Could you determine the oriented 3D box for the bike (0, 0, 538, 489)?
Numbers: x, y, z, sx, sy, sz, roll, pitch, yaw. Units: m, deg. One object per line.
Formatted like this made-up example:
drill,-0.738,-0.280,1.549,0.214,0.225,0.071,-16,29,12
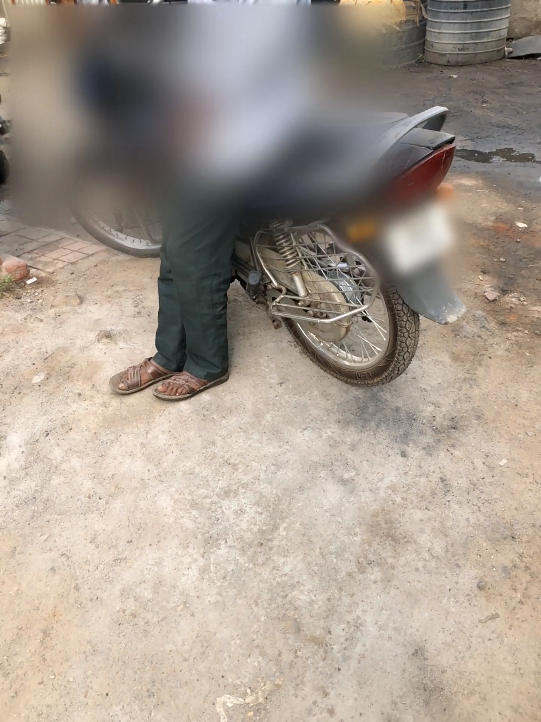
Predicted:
bike,-0.284,-0.642,2.011,1.802,1.153,0.788,28,47,36
